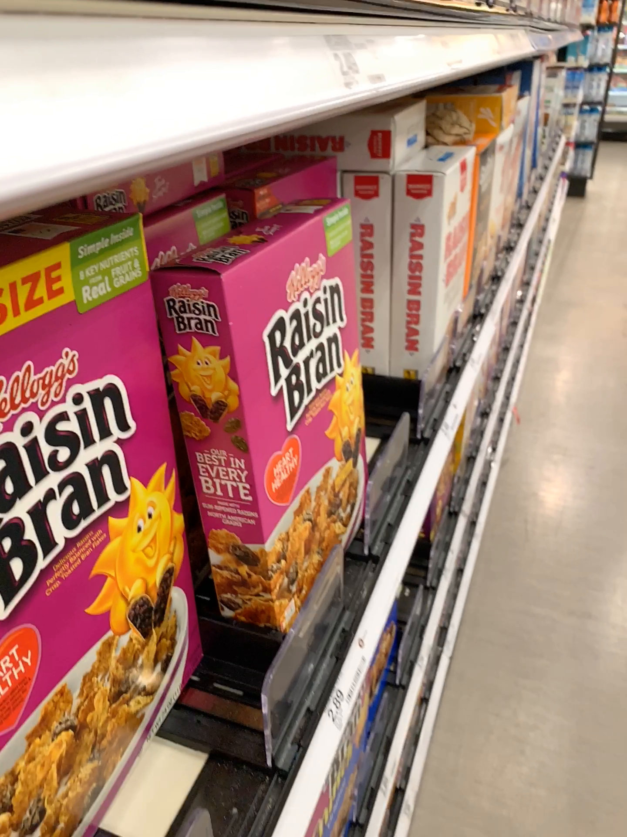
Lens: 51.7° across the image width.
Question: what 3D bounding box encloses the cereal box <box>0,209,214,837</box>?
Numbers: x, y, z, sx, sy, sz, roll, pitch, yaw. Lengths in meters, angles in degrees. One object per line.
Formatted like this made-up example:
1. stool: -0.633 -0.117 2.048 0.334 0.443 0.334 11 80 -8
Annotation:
1. cereal box: -0.144 0.080 0.304 0.060 0.298 0.221 8 31 19

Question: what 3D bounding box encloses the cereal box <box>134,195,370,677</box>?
1. cereal box: -0.019 0.005 0.468 0.050 0.279 0.201 6 31 21
